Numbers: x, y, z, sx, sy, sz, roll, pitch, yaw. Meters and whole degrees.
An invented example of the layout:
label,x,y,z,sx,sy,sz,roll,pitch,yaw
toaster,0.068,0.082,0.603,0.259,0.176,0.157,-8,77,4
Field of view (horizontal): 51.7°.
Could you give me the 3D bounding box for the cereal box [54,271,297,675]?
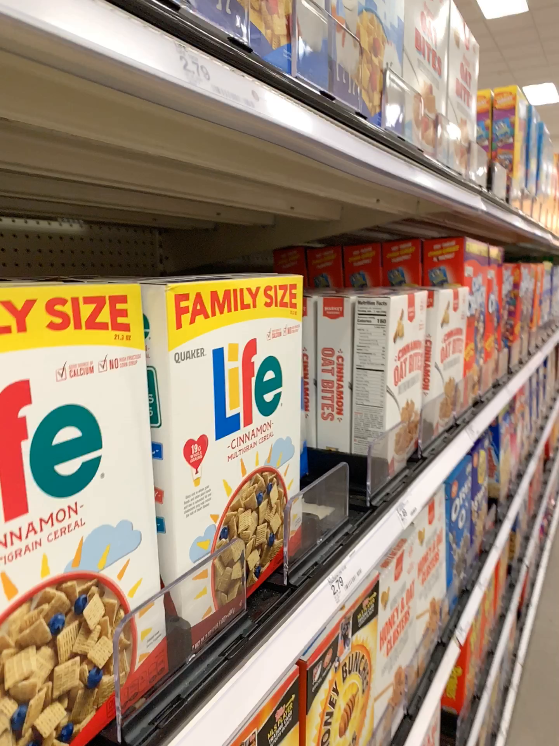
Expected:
label,x,y,z,sx,sy,sz,roll,pitch,yaw
cereal box,-0.064,0.053,0.457,0.070,0.259,0.190,6,12,31
